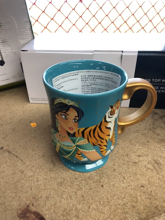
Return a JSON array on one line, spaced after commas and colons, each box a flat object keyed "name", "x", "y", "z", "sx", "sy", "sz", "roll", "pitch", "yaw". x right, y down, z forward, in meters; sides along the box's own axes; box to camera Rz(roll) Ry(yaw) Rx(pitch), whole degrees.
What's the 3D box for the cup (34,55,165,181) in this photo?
[{"name": "cup", "x": 0.022, "y": 0.006, "z": 0.243, "sx": 0.140, "sy": 0.120, "sz": 0.099, "roll": -5, "pitch": 34, "yaw": -5}]
